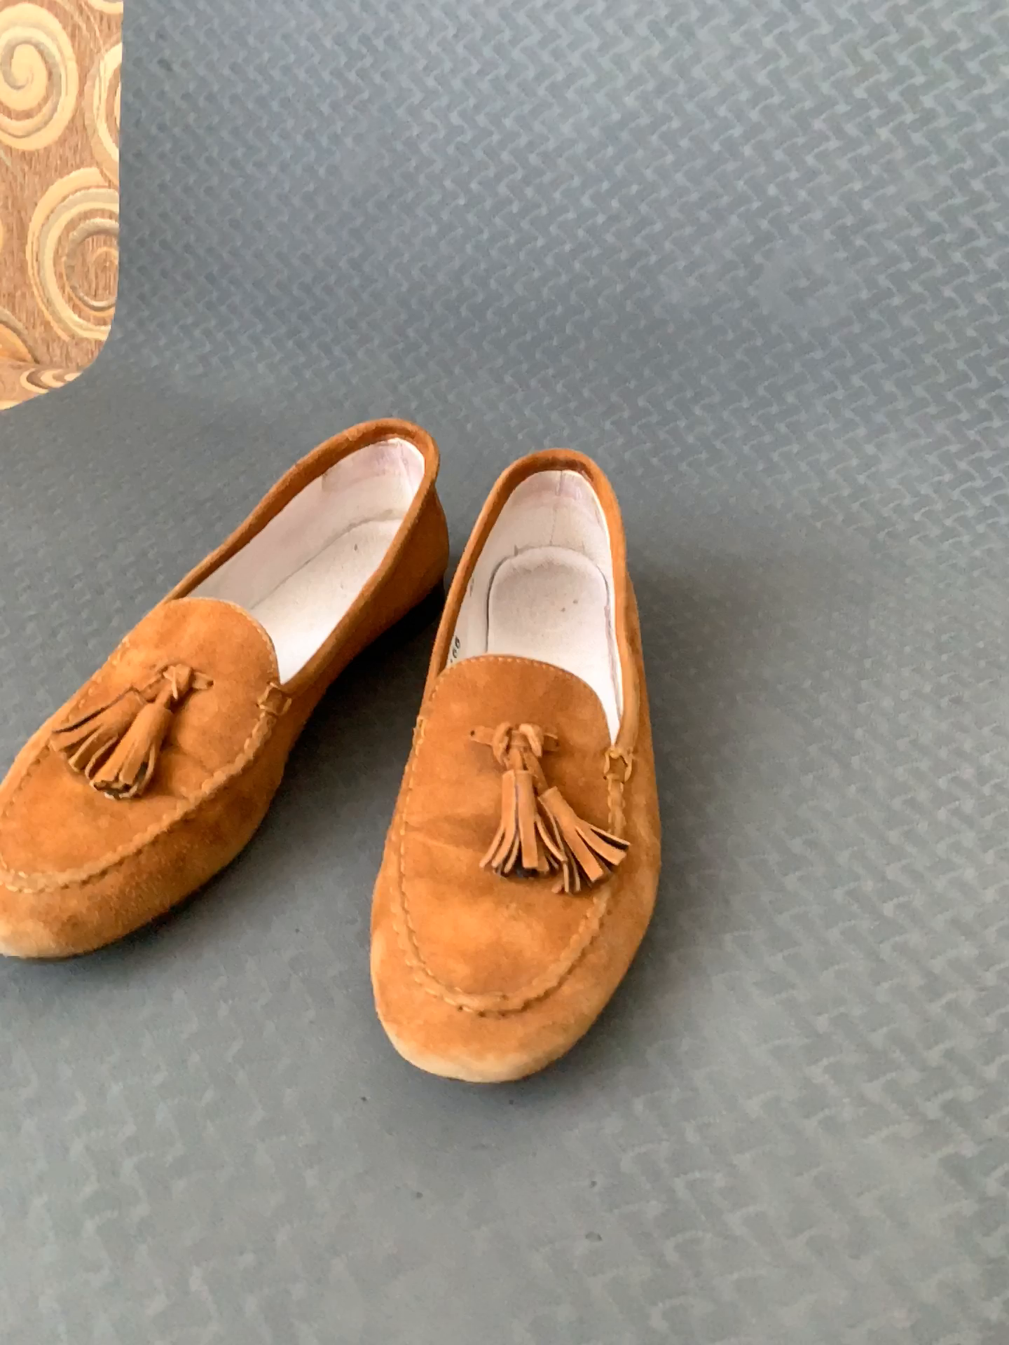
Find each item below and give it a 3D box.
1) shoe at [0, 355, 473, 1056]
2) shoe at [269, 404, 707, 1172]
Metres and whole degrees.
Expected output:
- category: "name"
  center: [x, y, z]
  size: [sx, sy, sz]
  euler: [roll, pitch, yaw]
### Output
- category: "shoe"
  center: [-0.105, -0.009, 0.351]
  size: [0.090, 0.090, 0.231]
  euler: [20, 46, 18]
- category: "shoe"
  center: [0.011, 0.015, 0.340]
  size: [0.090, 0.090, 0.241]
  euler: [7, 43, 6]
